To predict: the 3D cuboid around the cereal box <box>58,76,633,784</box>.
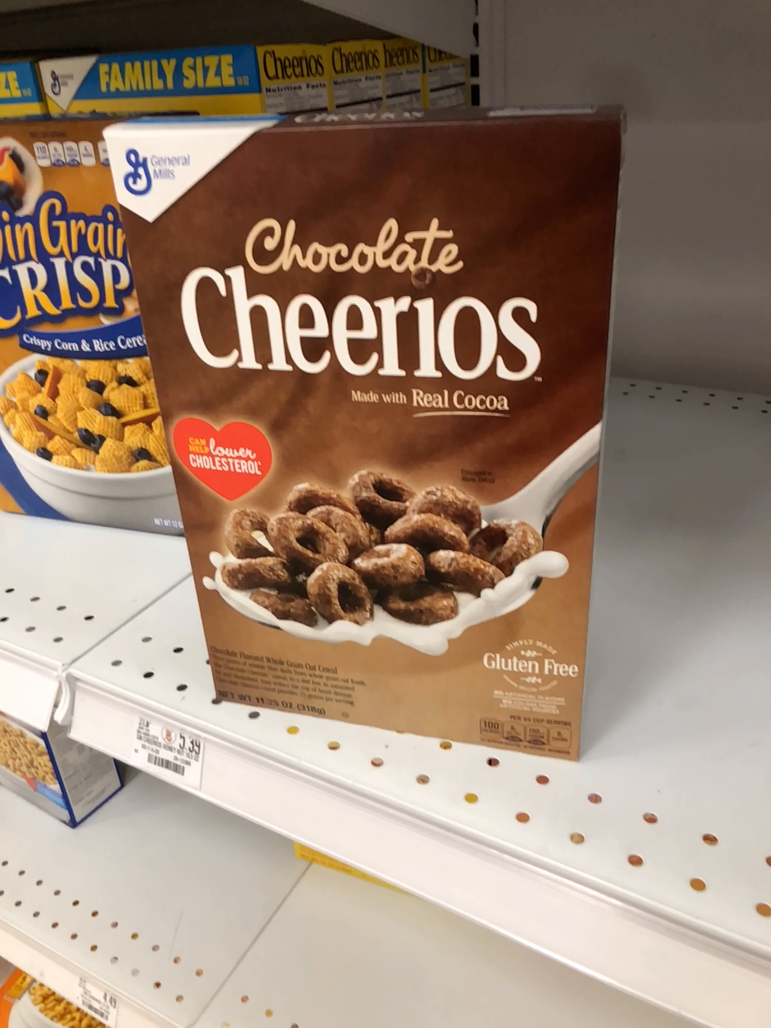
[{"bbox_3d":[-0.005,-0.024,0.379,0.200,0.289,0.060,5,32,19],"label":"cereal box"}]
